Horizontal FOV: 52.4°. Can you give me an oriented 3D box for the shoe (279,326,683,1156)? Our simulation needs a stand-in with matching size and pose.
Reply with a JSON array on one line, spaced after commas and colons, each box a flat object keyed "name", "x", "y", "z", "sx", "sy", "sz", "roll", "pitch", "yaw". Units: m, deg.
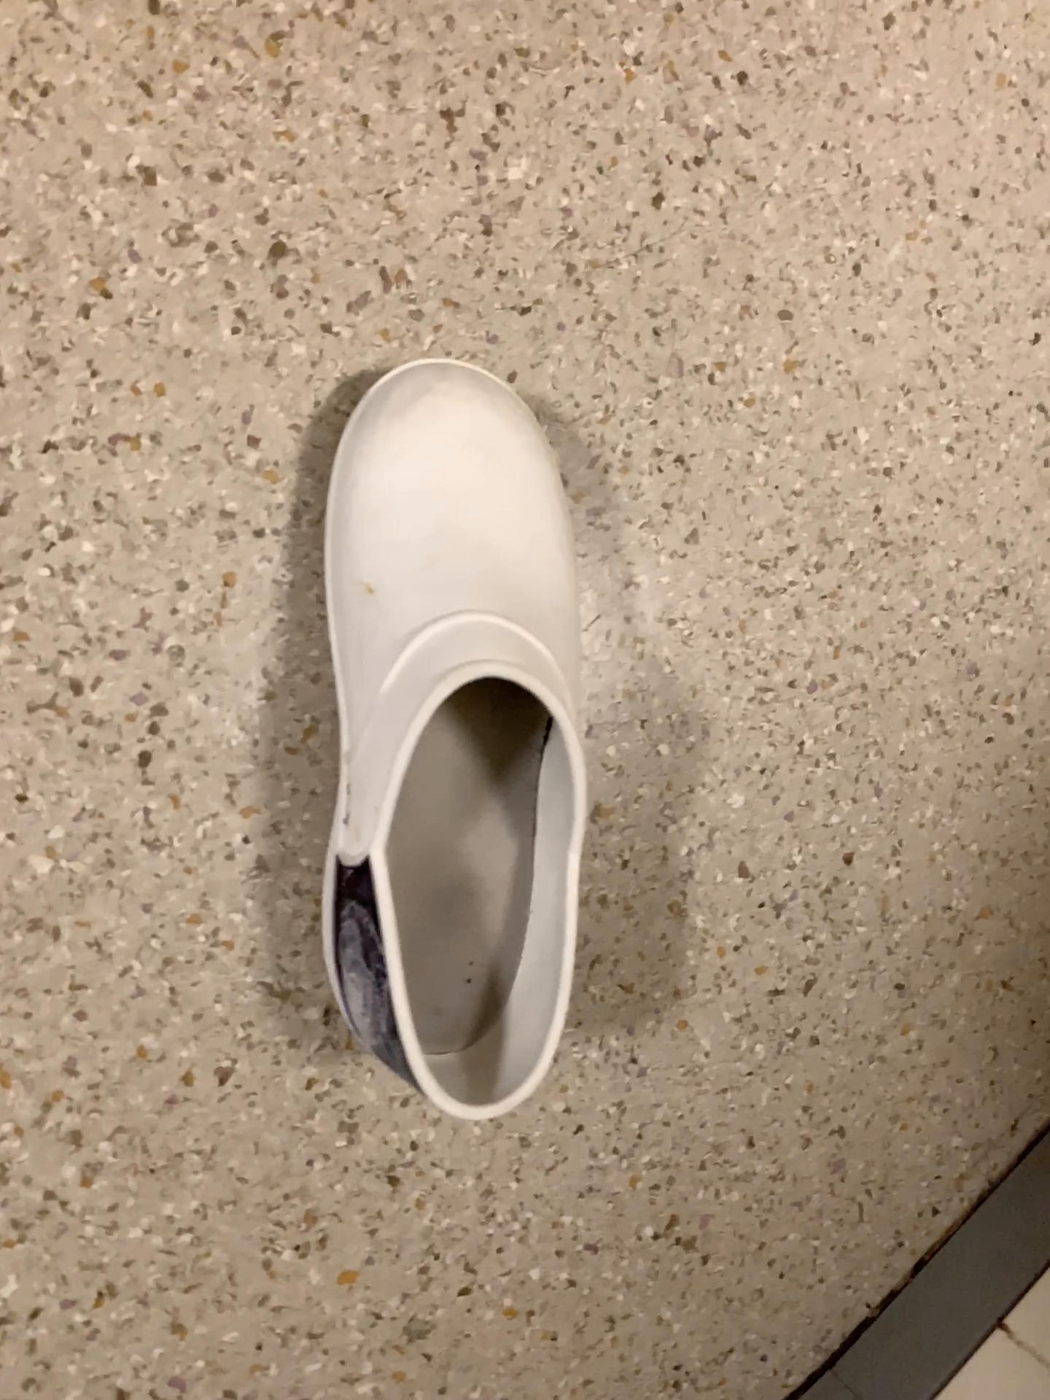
[{"name": "shoe", "x": -0.022, "y": 0.014, "z": 0.392, "sx": 0.107, "sy": 0.102, "sz": 0.254, "roll": 3, "pitch": 92, "yaw": -21}]
